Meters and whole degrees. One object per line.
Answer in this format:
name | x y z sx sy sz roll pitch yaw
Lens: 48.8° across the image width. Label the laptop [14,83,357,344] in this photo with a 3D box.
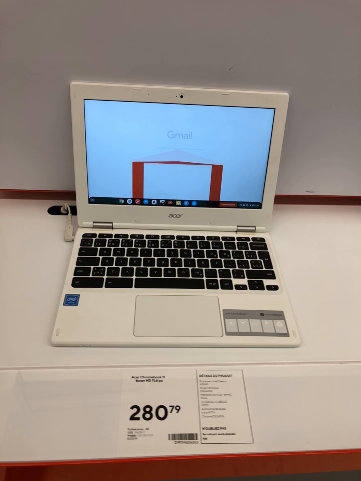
laptop | -0.002 -0.040 0.486 0.282 0.188 0.260 1 43 -4
